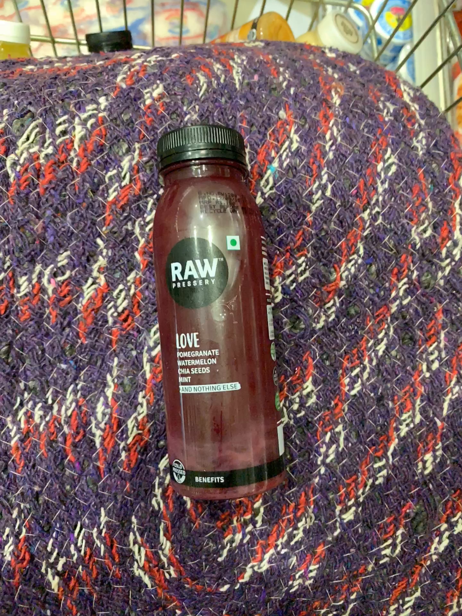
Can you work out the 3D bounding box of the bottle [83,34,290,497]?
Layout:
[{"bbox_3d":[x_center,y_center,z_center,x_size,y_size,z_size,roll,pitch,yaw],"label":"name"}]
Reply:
[{"bbox_3d":[-0.016,-0.014,0.211,0.060,0.060,0.170,-6,86,13],"label":"bottle"}]
